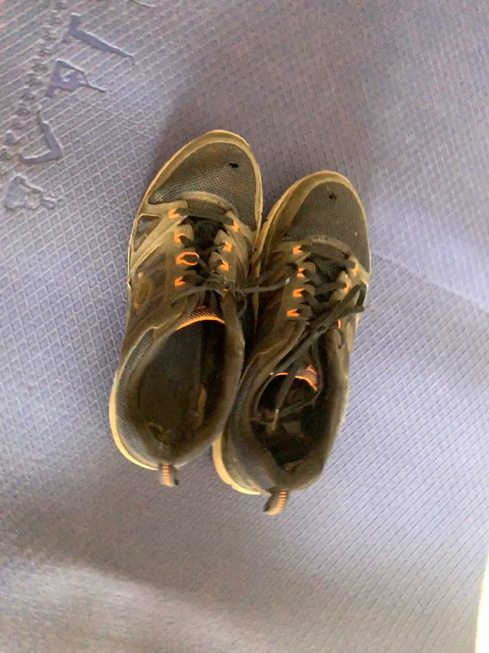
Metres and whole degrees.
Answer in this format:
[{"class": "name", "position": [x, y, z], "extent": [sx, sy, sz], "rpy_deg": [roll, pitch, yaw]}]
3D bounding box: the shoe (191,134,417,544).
[{"class": "shoe", "position": [0.049, 0.009, 0.460], "extent": [0.100, 0.100, 0.320], "rpy_deg": [18, 83, -8]}]

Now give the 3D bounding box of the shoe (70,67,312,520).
[{"class": "shoe", "position": [-0.045, -0.023, 0.410], "extent": [0.110, 0.100, 0.310], "rpy_deg": [14, 83, -15]}]
